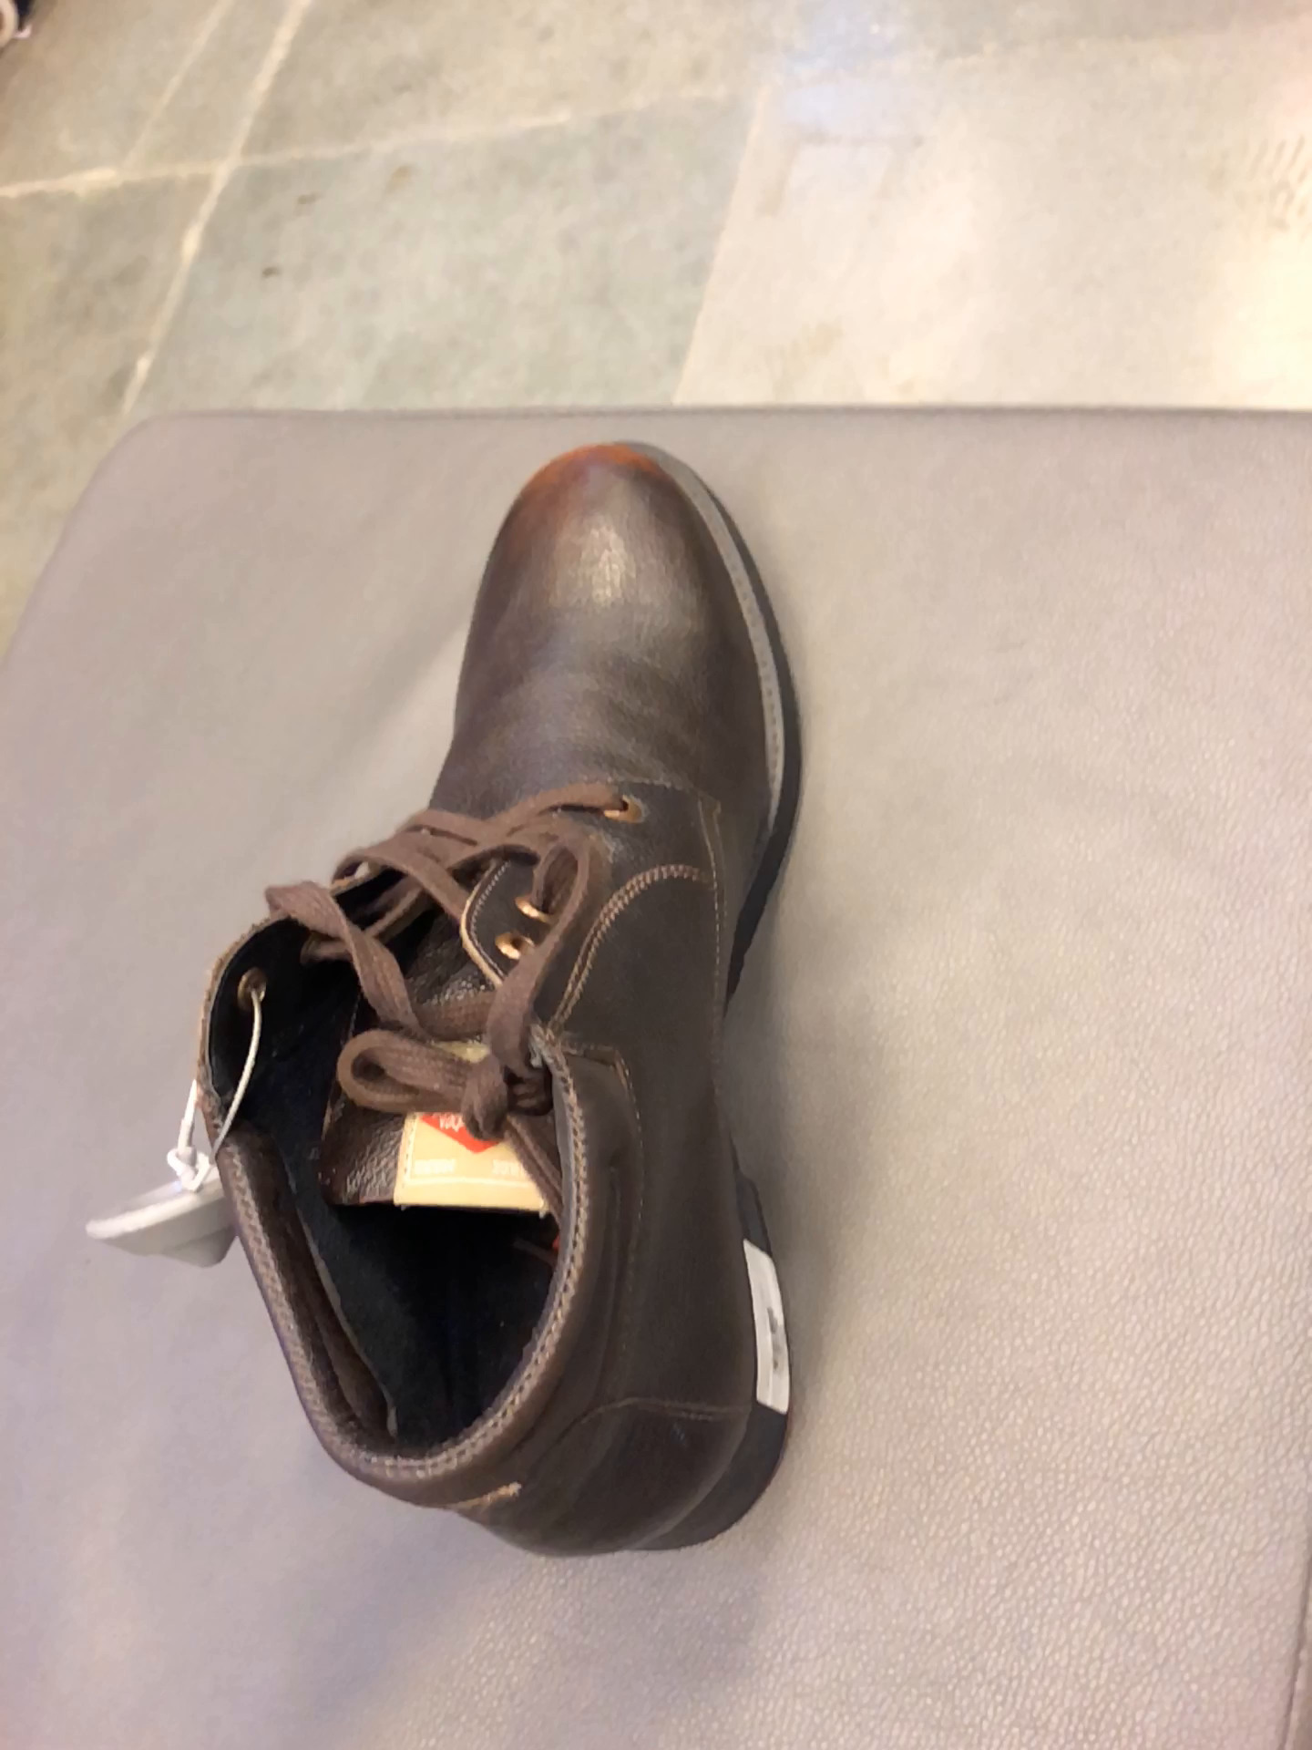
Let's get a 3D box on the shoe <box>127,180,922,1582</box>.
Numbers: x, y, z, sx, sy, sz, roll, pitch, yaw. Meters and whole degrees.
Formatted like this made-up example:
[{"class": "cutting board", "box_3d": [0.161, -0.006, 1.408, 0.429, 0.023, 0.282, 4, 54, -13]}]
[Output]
[{"class": "shoe", "box_3d": [-0.015, 0.013, 0.381, 0.108, 0.178, 0.299, -10, 66, 20]}]
